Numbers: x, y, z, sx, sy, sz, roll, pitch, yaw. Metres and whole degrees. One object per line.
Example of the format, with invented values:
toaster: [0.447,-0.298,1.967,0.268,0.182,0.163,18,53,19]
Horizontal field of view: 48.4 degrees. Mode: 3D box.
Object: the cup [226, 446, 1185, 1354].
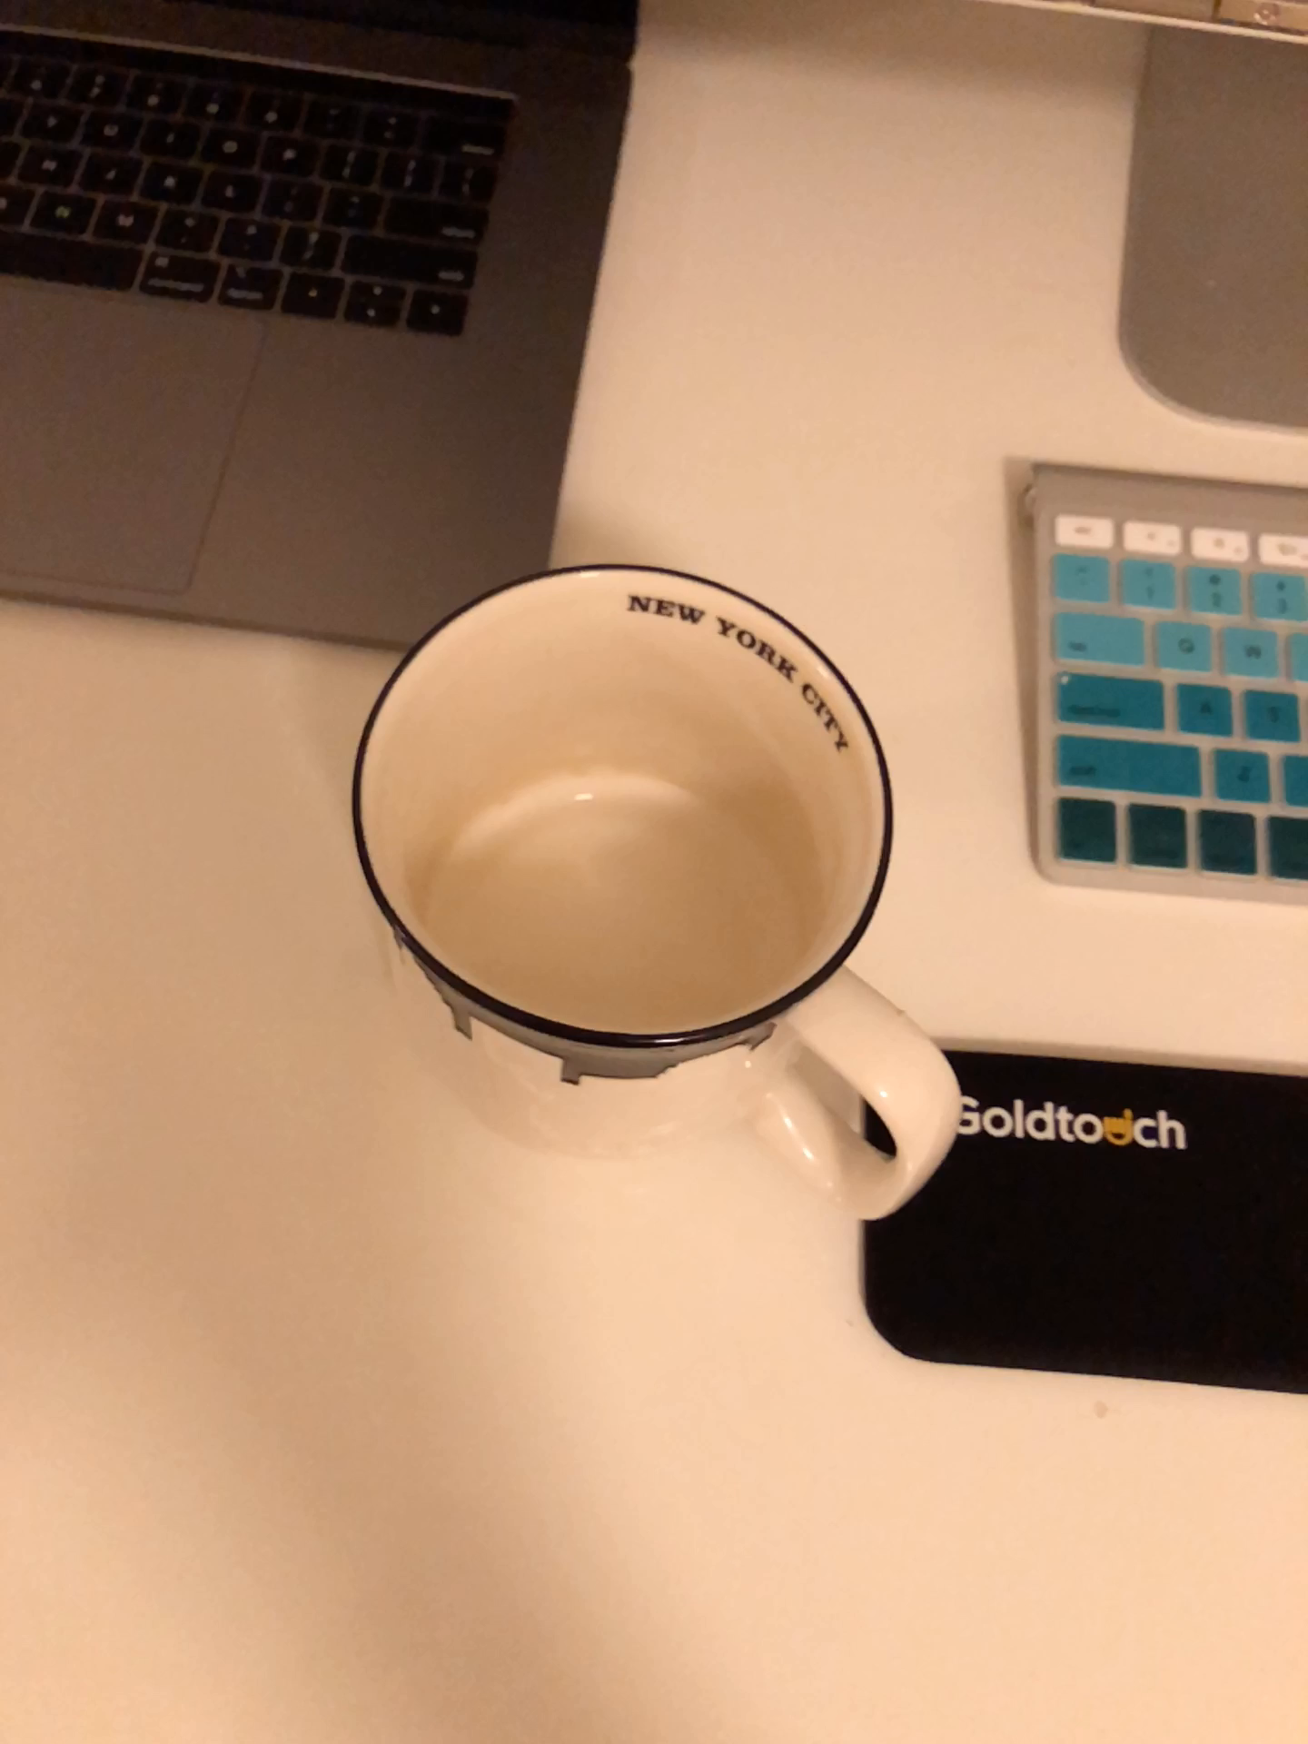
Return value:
cup: [0.009,0.009,0.309,0.140,0.090,0.110,33,68,10]
